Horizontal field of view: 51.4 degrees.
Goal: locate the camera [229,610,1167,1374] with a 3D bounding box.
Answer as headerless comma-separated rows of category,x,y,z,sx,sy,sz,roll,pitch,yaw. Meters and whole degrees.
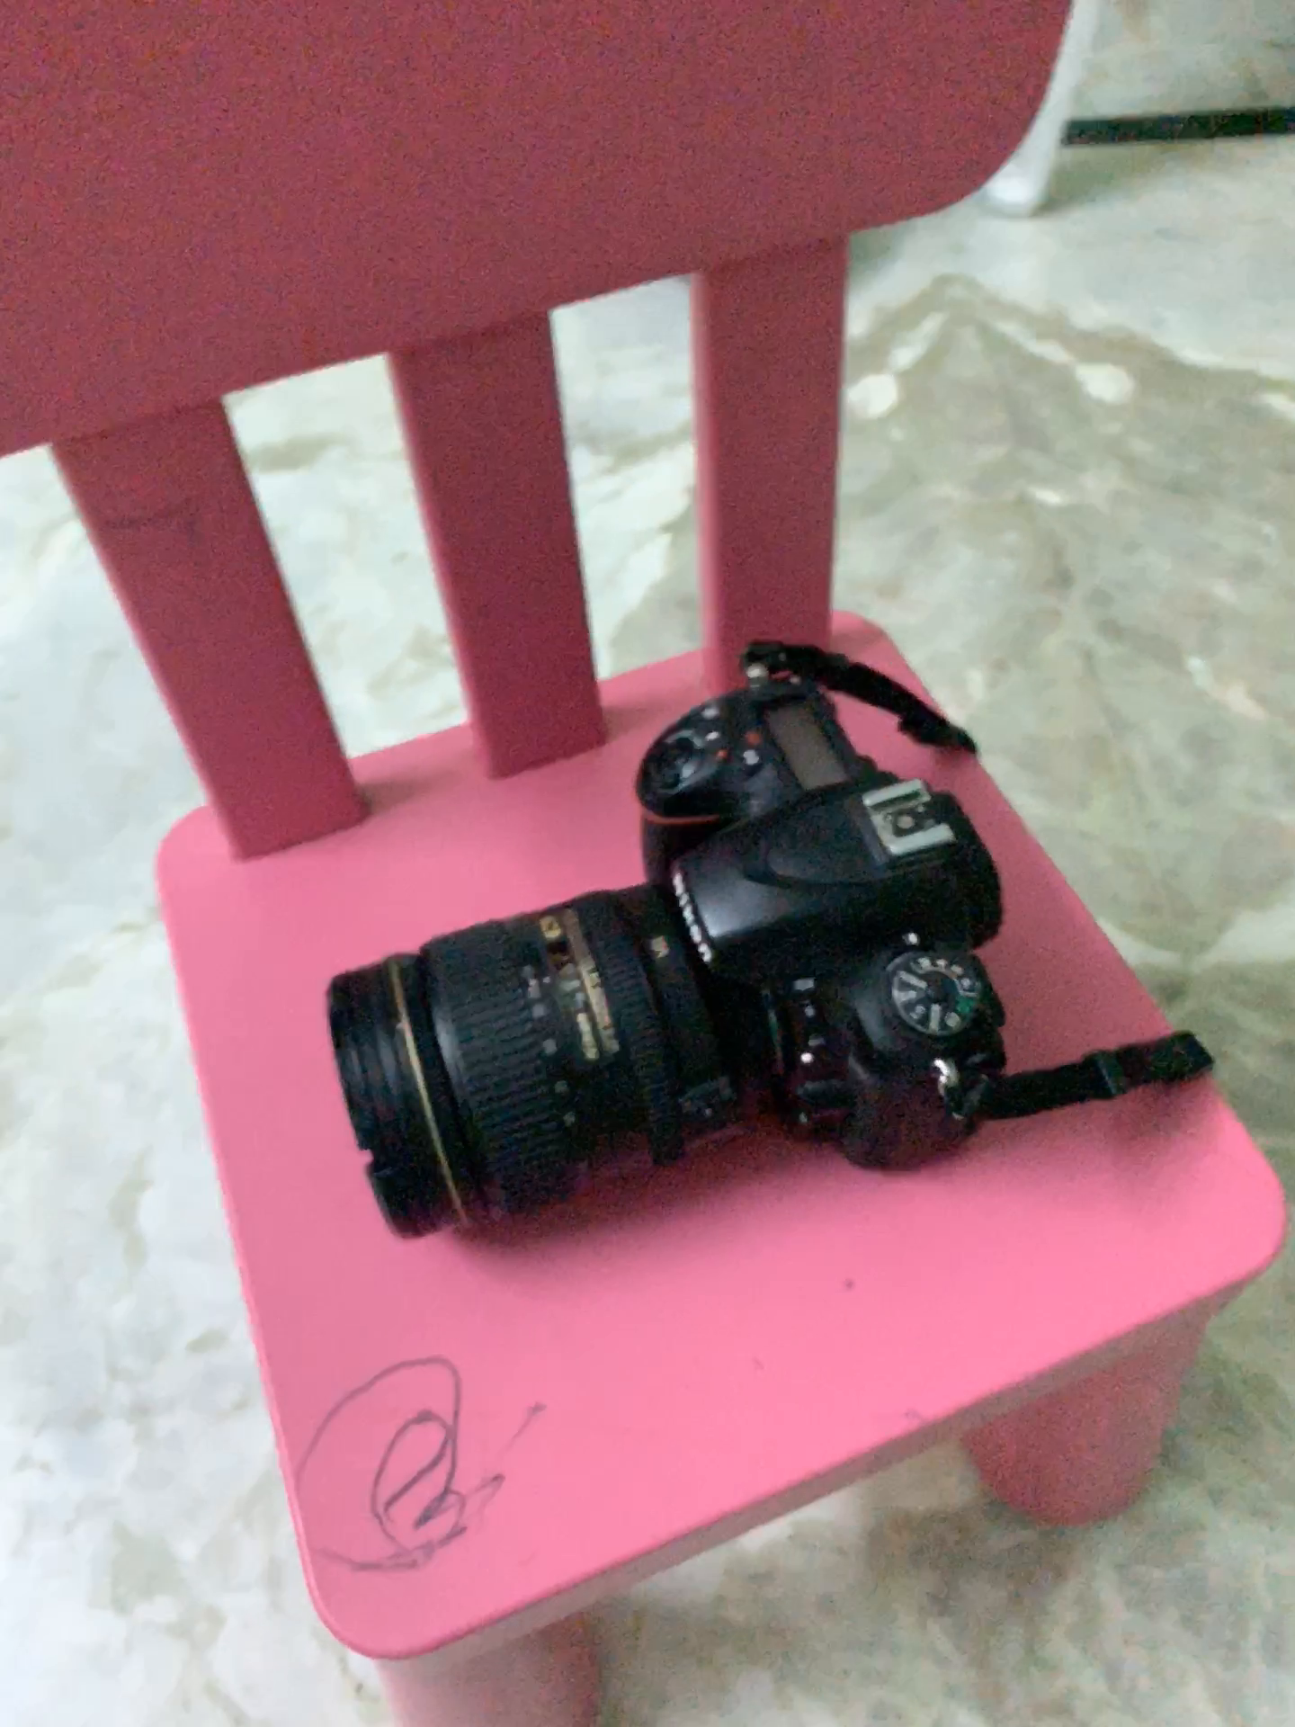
camera,0.007,0.031,0.386,0.210,0.080,0.140,-17,58,-9
